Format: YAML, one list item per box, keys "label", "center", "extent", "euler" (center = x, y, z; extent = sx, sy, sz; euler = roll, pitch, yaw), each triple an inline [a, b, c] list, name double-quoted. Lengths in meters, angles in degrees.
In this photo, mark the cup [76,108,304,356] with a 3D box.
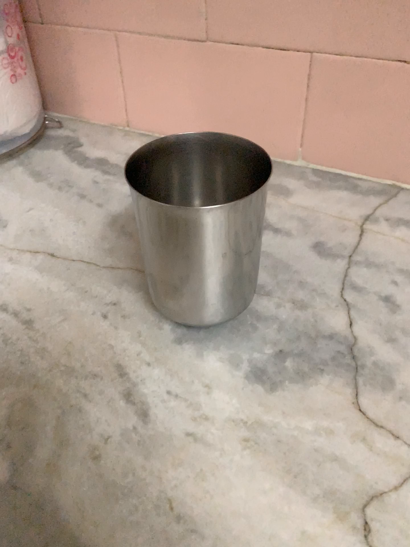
- label: "cup"
  center: [-0.006, -0.027, 0.240]
  extent: [0.080, 0.090, 0.080]
  euler: [-2, 42, 1]
